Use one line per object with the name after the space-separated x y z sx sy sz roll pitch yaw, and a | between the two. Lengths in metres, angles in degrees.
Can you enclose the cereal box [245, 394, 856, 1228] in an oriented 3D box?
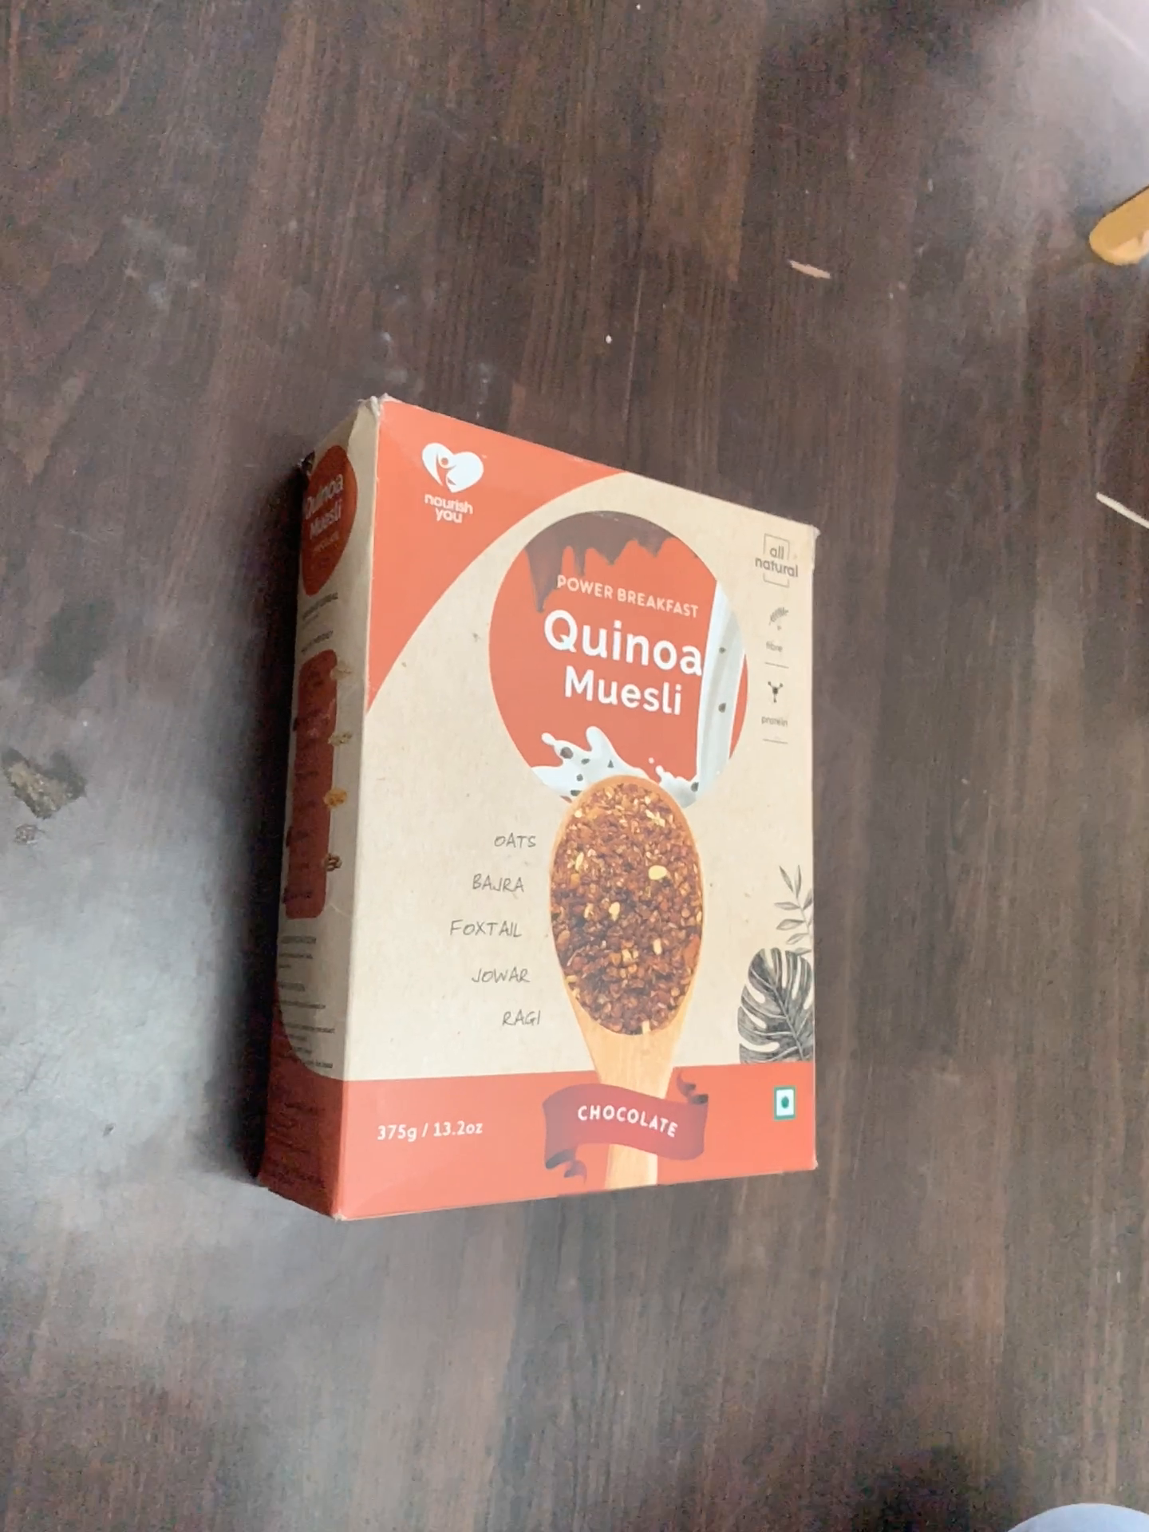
-0.001 0.019 0.371 0.171 0.070 0.210 8 78 -33 | cereal box
